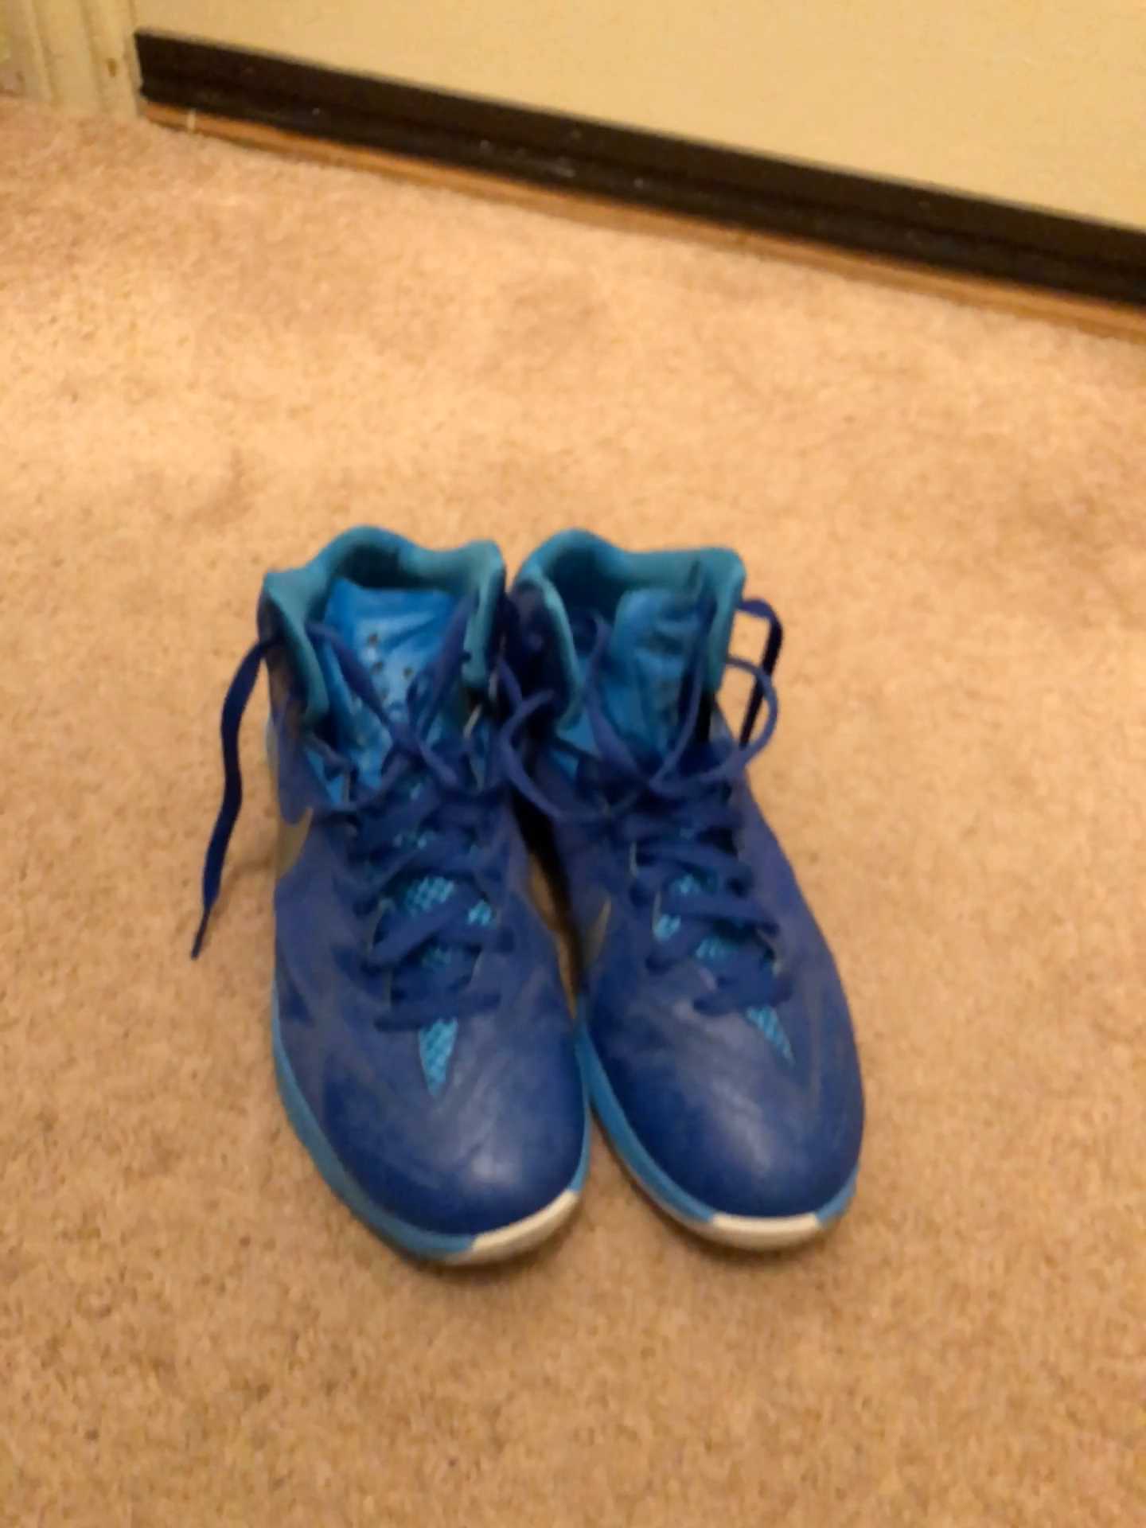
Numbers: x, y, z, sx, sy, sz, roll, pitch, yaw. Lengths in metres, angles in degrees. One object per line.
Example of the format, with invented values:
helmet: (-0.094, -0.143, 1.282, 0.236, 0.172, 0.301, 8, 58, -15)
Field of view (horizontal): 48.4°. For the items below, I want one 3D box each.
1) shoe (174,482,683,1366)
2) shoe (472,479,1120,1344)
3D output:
shoe: (-0.067, 0.044, 0.470, 0.120, 0.134, 0.279, -8, 52, -12)
shoe: (0.054, 0.041, 0.483, 0.122, 0.134, 0.281, -10, 53, -13)
